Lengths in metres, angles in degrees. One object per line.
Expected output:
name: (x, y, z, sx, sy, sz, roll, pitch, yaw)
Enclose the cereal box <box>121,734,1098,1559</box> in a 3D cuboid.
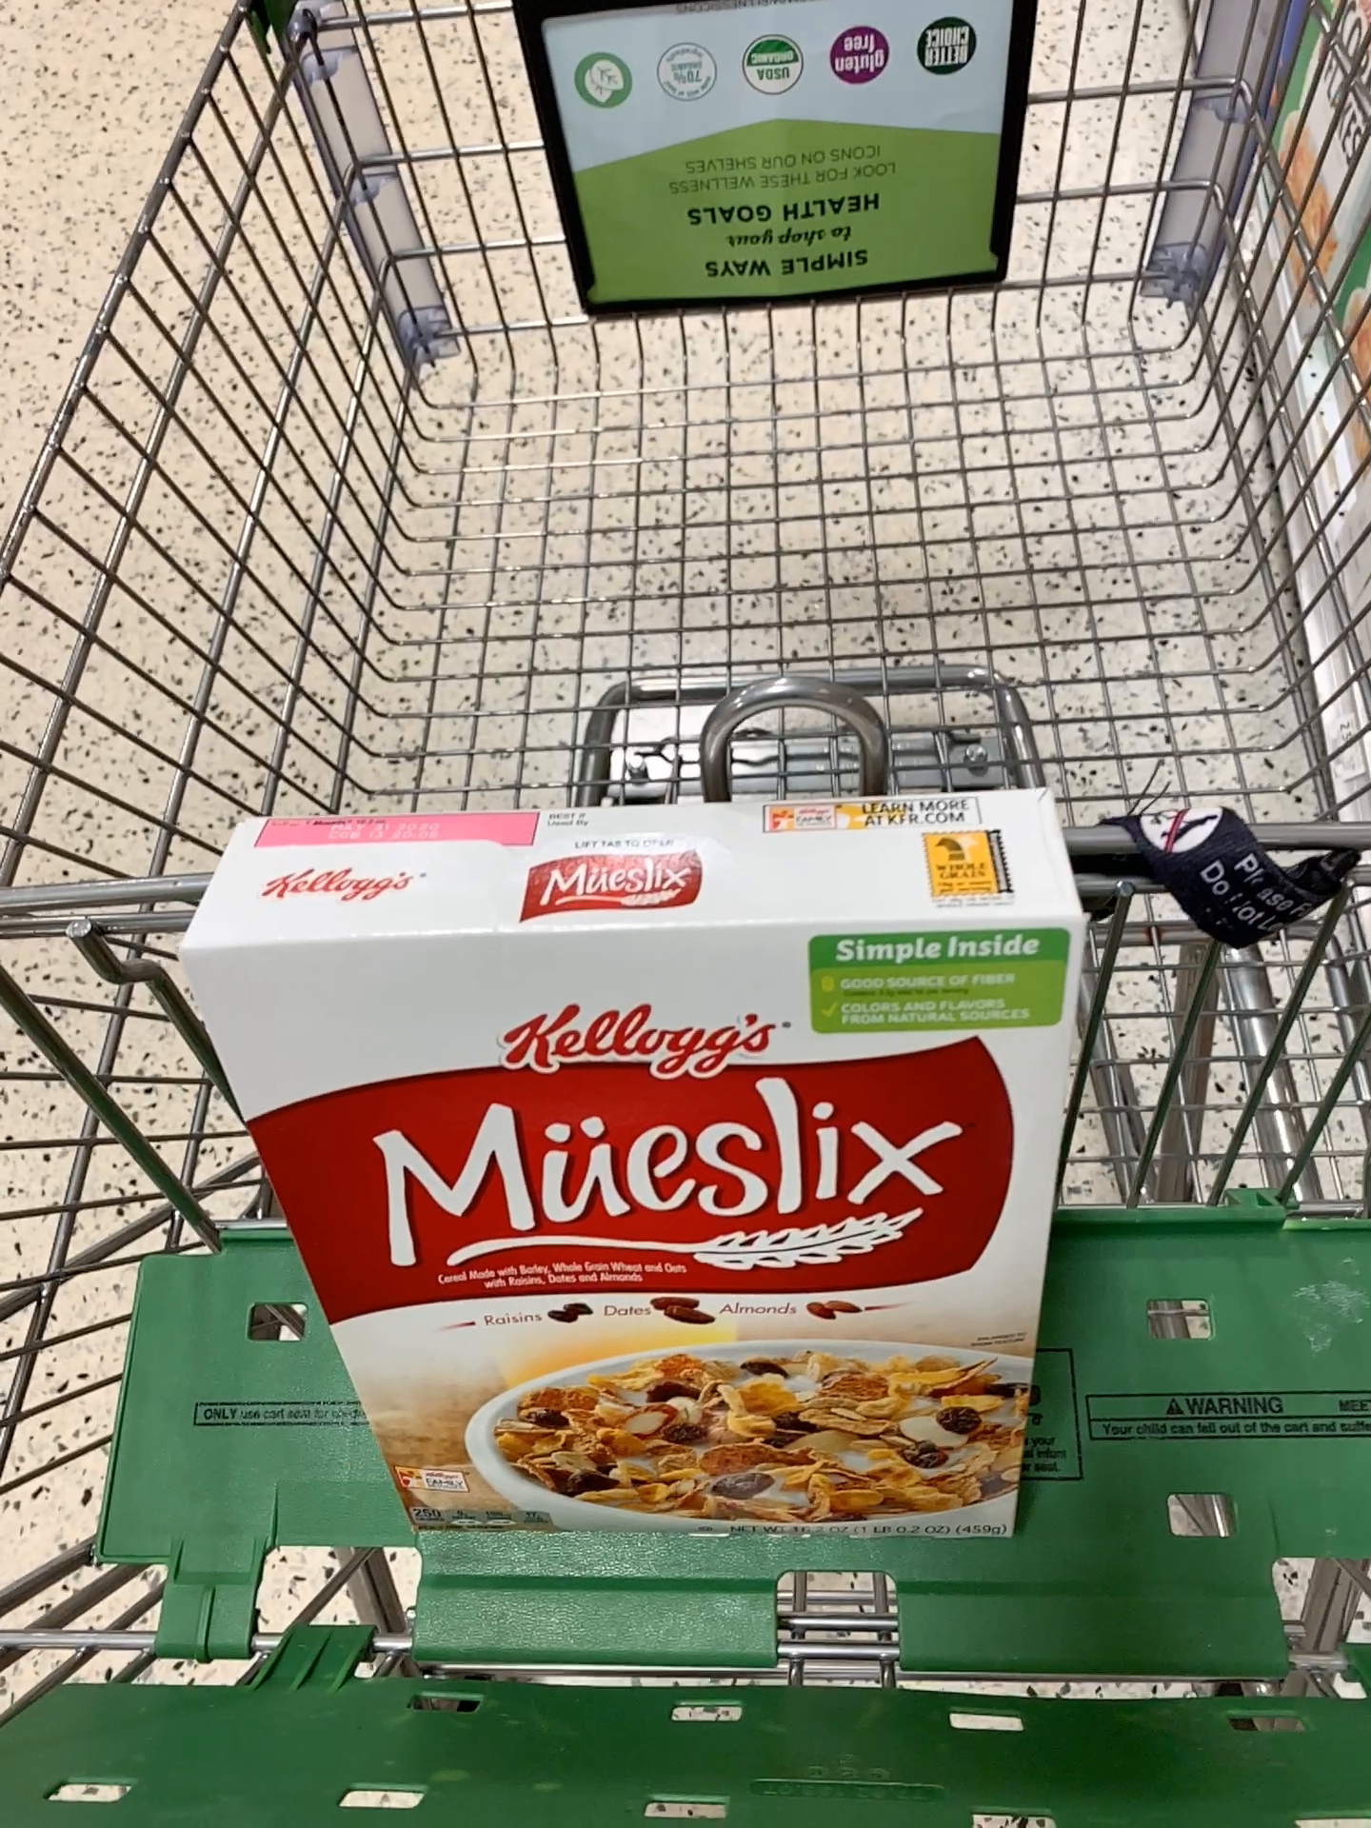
cereal box: (-0.007, 0.084, 0.394, 0.200, 0.268, 0.060, -2, 39, 5)
